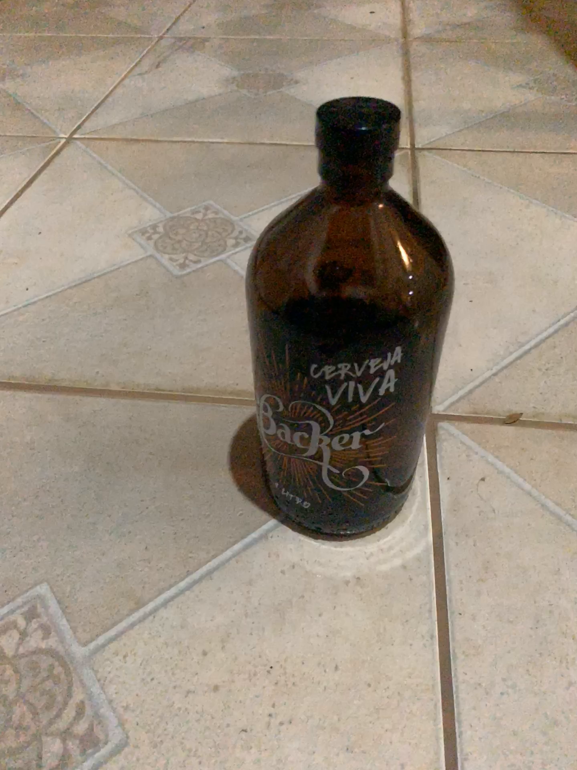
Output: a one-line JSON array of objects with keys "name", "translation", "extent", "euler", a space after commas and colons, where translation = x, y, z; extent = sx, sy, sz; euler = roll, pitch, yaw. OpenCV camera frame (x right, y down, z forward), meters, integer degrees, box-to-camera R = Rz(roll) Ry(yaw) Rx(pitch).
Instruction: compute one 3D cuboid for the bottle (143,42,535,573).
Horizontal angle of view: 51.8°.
[{"name": "bottle", "translation": [0.022, -0.024, 0.278], "extent": [0.100, 0.209, 0.090], "euler": [30, 54, 29]}]
